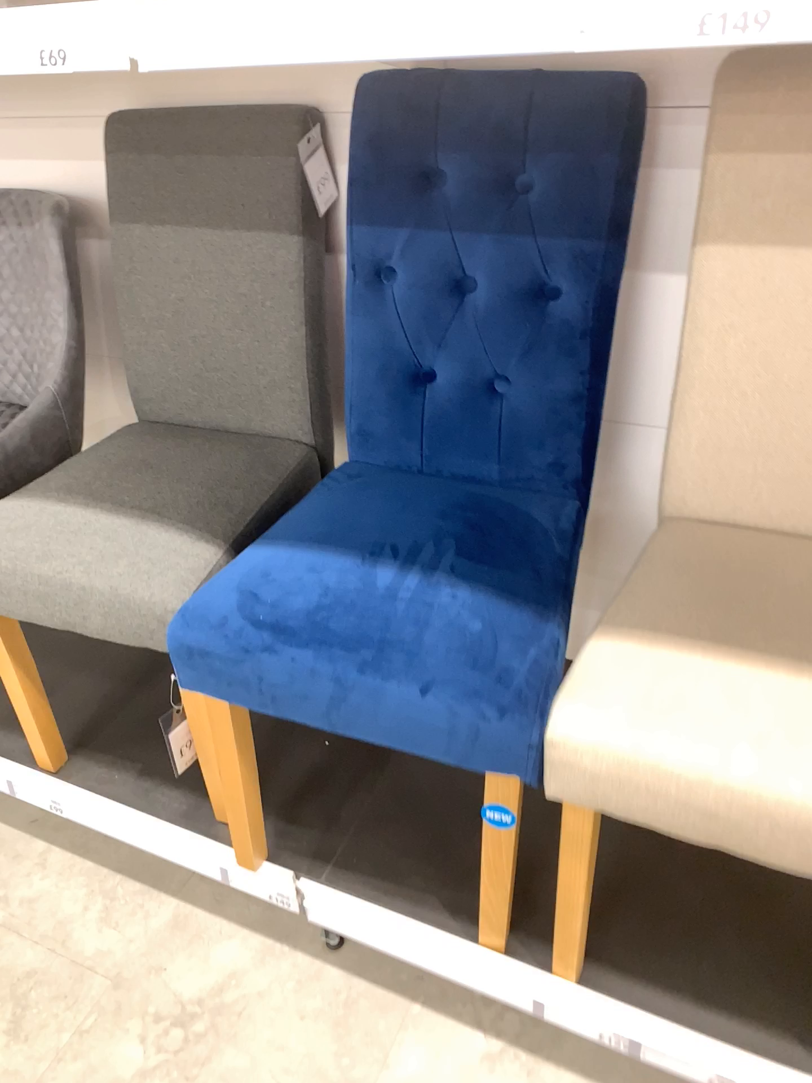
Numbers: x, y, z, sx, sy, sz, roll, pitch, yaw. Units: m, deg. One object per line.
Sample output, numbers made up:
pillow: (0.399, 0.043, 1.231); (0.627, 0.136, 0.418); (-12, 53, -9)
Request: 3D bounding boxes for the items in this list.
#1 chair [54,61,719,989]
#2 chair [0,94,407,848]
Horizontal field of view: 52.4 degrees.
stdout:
chair: (0.051, -0.025, 1.012); (0.433, 0.930, 0.523); (11, 37, 20)
chair: (-0.317, -0.131, 1.245); (0.413, 0.890, 0.624); (9, 35, 18)
